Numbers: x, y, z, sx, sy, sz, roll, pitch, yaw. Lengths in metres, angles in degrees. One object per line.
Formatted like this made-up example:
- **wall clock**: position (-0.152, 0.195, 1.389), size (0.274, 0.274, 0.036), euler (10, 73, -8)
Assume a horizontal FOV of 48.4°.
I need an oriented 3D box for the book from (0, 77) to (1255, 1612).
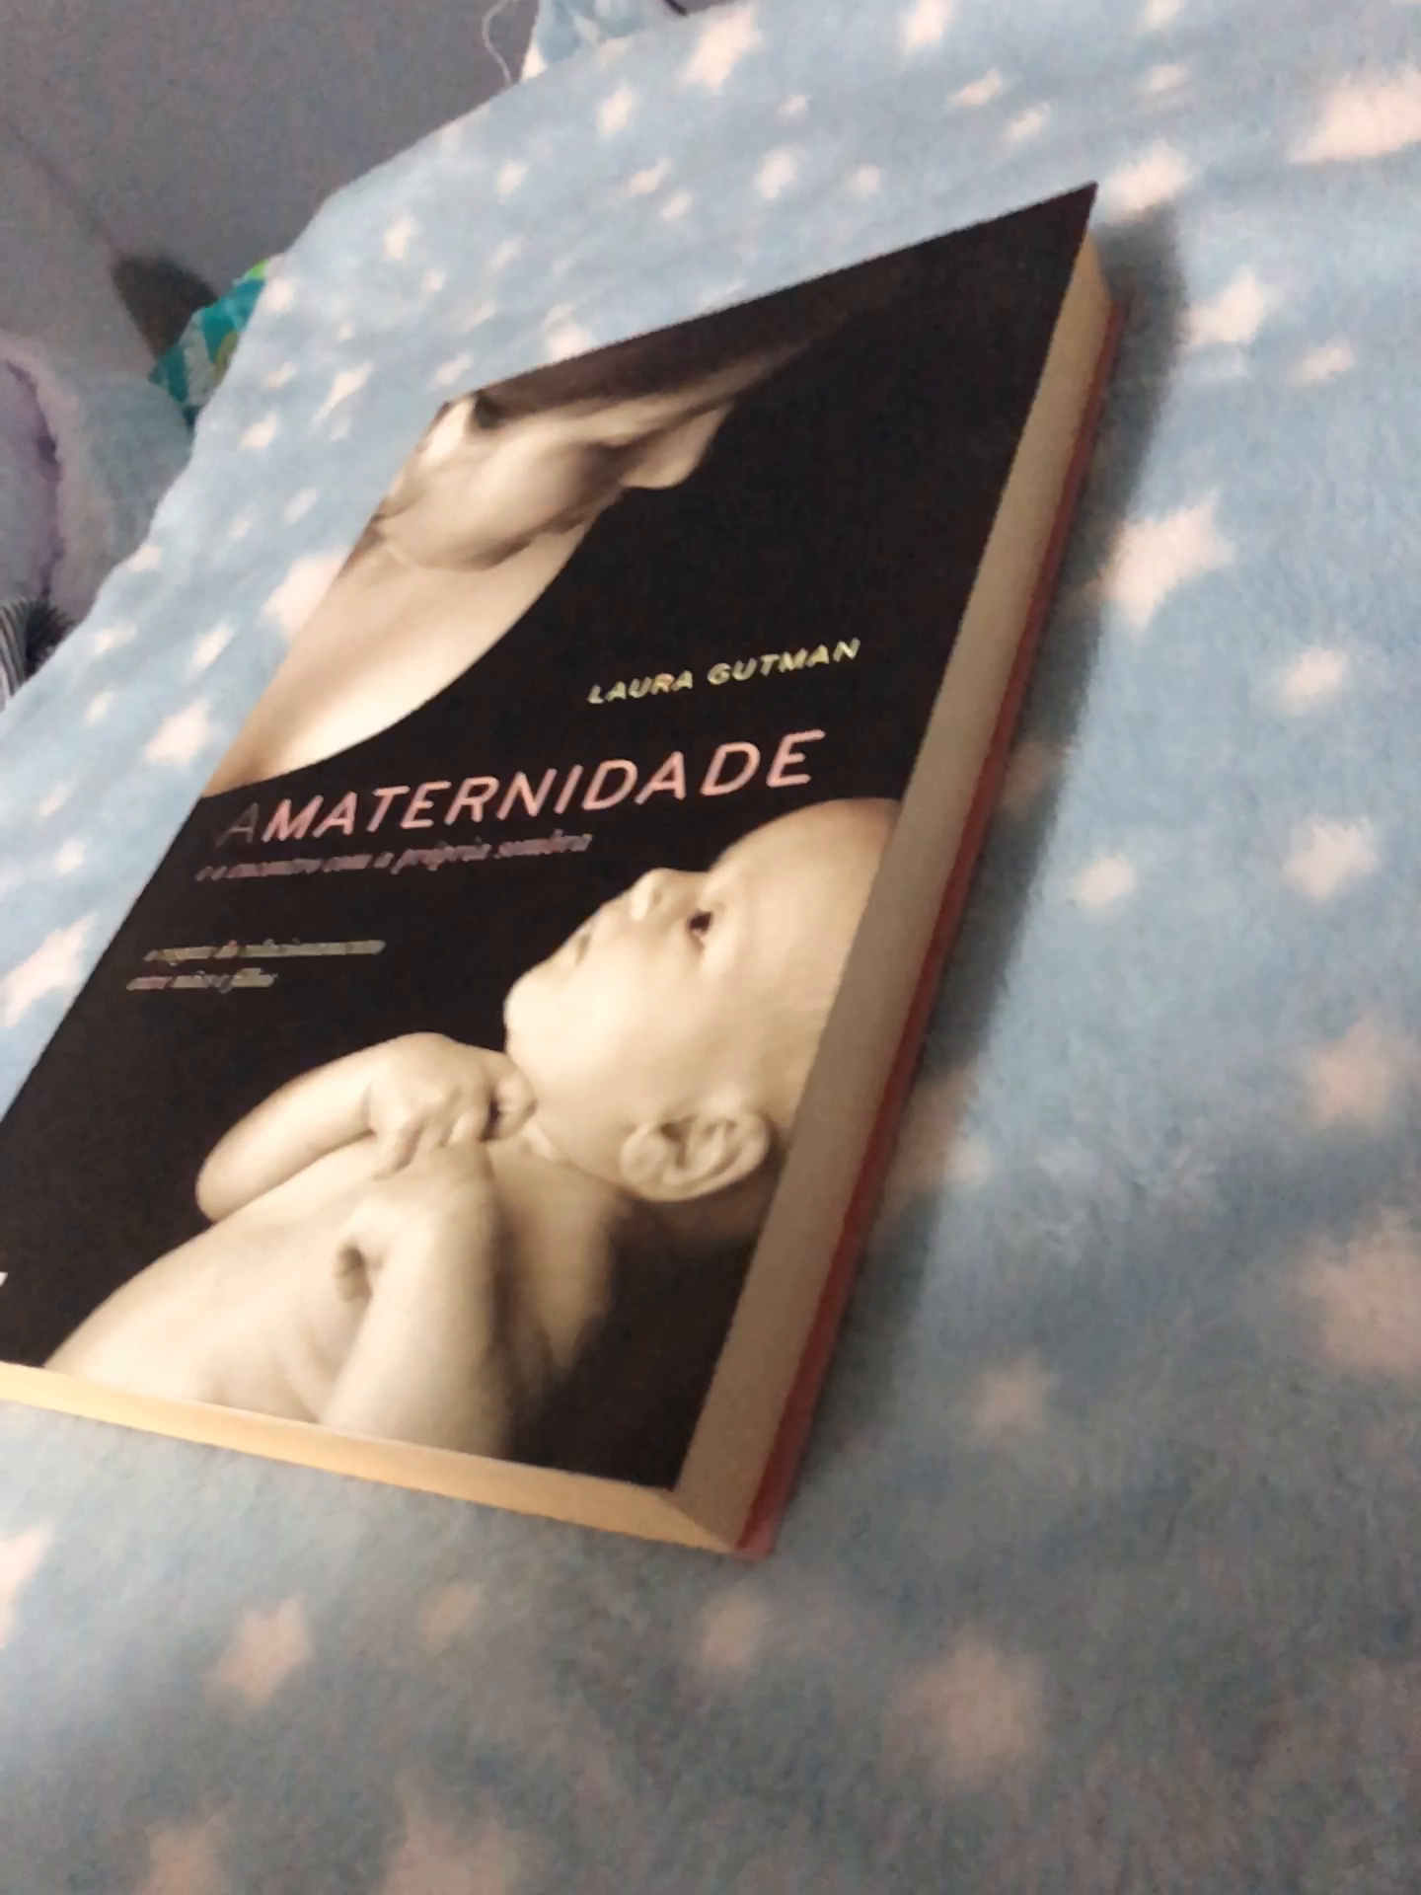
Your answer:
- **book**: position (-0.016, -0.036, 0.256), size (0.161, 0.030, 0.241), euler (-2, 52, 35)
